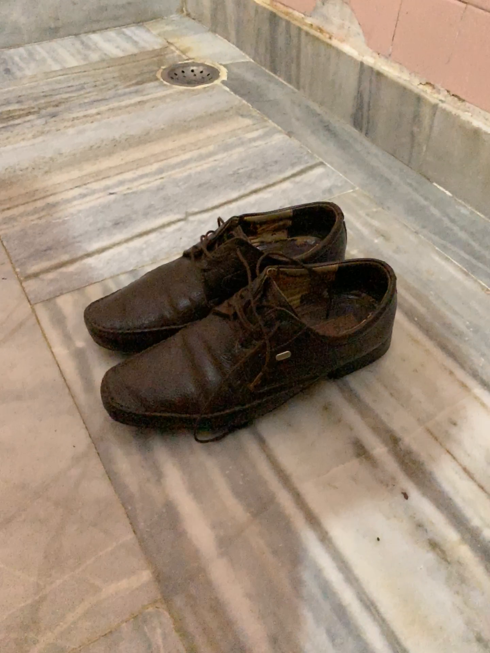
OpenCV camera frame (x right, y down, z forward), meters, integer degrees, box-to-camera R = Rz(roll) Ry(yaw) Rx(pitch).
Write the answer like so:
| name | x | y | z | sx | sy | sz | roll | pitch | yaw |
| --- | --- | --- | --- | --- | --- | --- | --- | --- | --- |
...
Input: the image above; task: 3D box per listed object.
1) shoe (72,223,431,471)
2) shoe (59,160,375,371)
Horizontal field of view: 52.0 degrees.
| name | x | y | z | sx | sy | sz | roll | pitch | yaw |
| --- | --- | --- | --- | --- | --- | --- | --- | --- | --- |
| shoe | 0.008 | 0.012 | 0.459 | 0.282 | 0.110 | 0.100 | -18 | 52 | -16 |
| shoe | -0.025 | -0.069 | 0.518 | 0.282 | 0.110 | 0.100 | -18 | 52 | -16 |
